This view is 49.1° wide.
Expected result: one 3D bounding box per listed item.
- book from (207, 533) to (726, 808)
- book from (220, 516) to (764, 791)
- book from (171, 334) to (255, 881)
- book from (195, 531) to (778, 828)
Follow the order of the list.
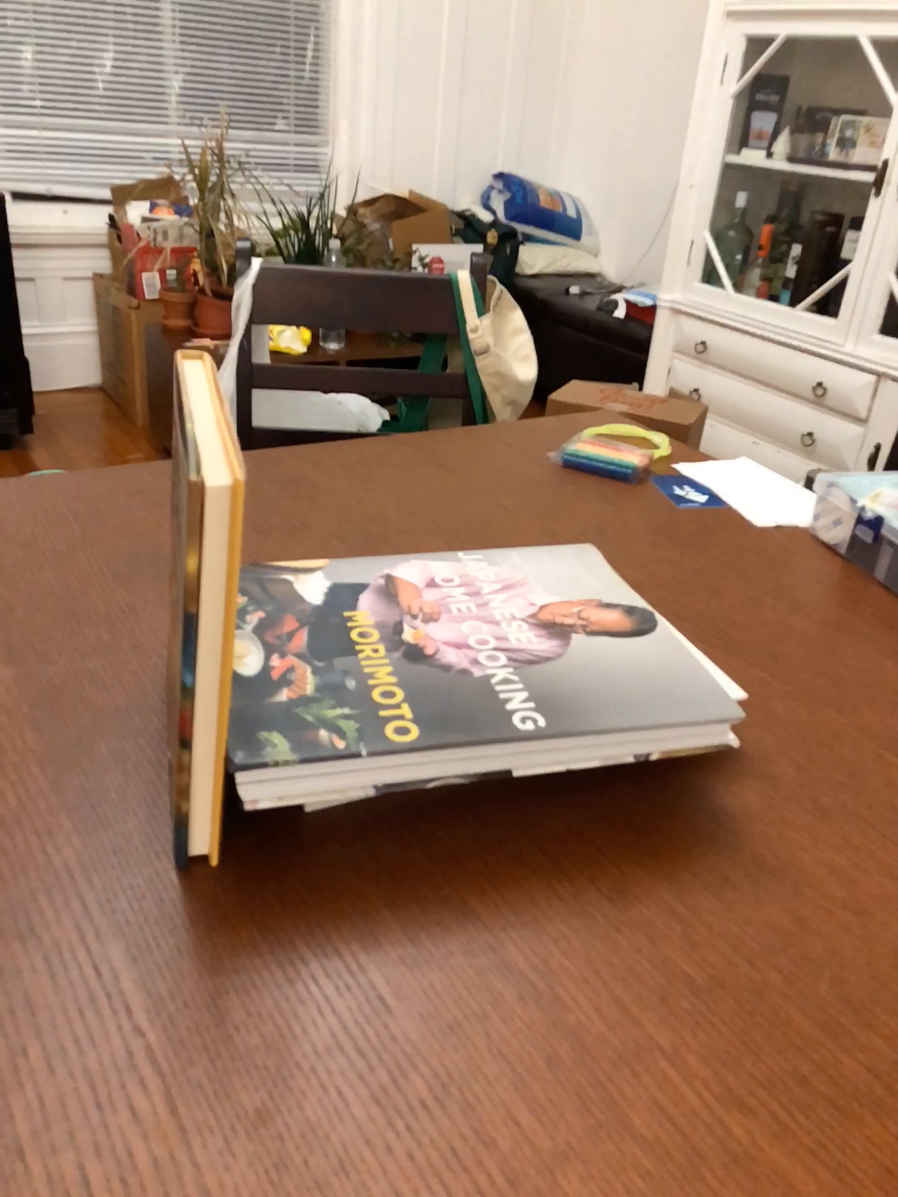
[{"bbox_3d":[0.002,0.029,0.662,0.280,0.030,0.221,-9,30,-23],"label":"book"},{"bbox_3d":[0.016,0.017,0.629,0.280,0.030,0.221,-8,30,-21],"label":"book"},{"bbox_3d":[-0.129,-0.007,0.518,0.030,0.209,0.211,-1,29,-16],"label":"book"},{"bbox_3d":[0.005,0.028,0.572,0.280,0.030,0.221,-5,29,-17],"label":"book"}]
